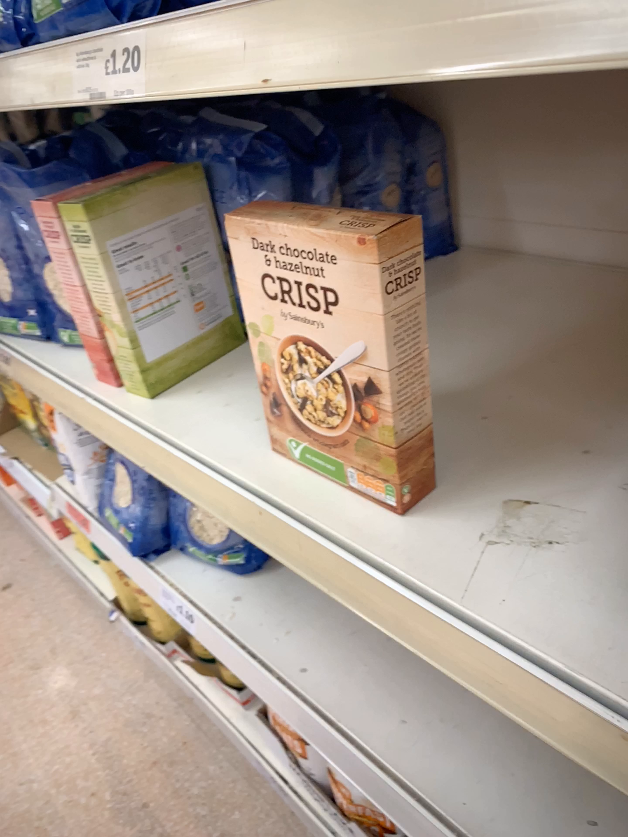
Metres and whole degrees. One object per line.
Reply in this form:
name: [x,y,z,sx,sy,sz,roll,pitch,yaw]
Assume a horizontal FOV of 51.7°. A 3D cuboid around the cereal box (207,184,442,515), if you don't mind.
cereal box: [0.012,-0.065,0.568,0.060,0.248,0.191,-31,37,-33]
